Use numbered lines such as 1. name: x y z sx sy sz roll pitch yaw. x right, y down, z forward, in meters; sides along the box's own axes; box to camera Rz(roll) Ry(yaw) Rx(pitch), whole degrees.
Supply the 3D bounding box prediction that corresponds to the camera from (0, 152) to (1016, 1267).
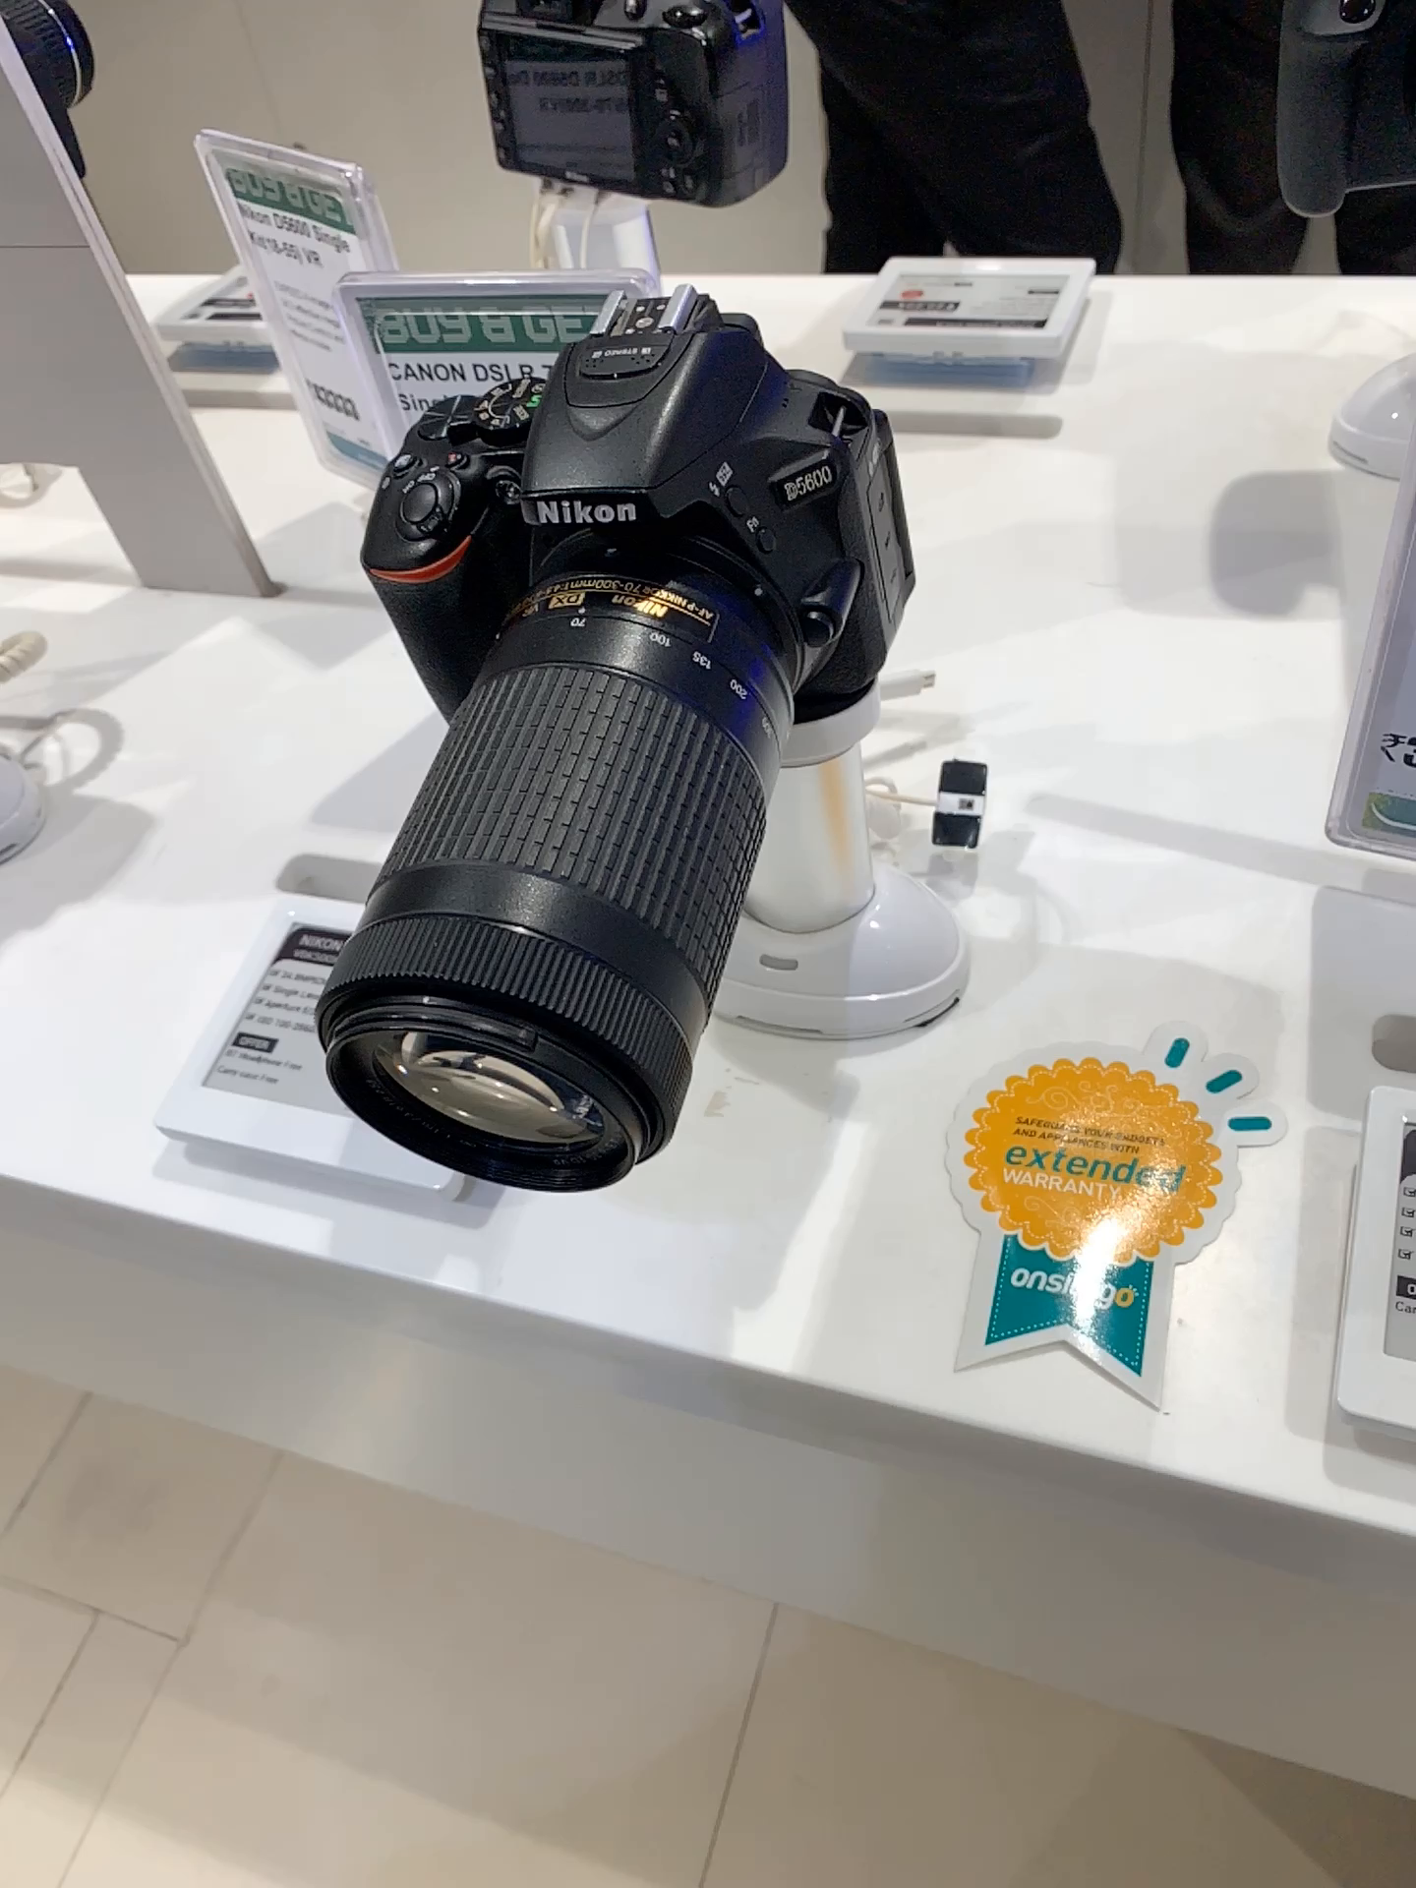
1. camera: -0.014 -0.080 0.337 0.130 0.080 0.281 6 50 17
